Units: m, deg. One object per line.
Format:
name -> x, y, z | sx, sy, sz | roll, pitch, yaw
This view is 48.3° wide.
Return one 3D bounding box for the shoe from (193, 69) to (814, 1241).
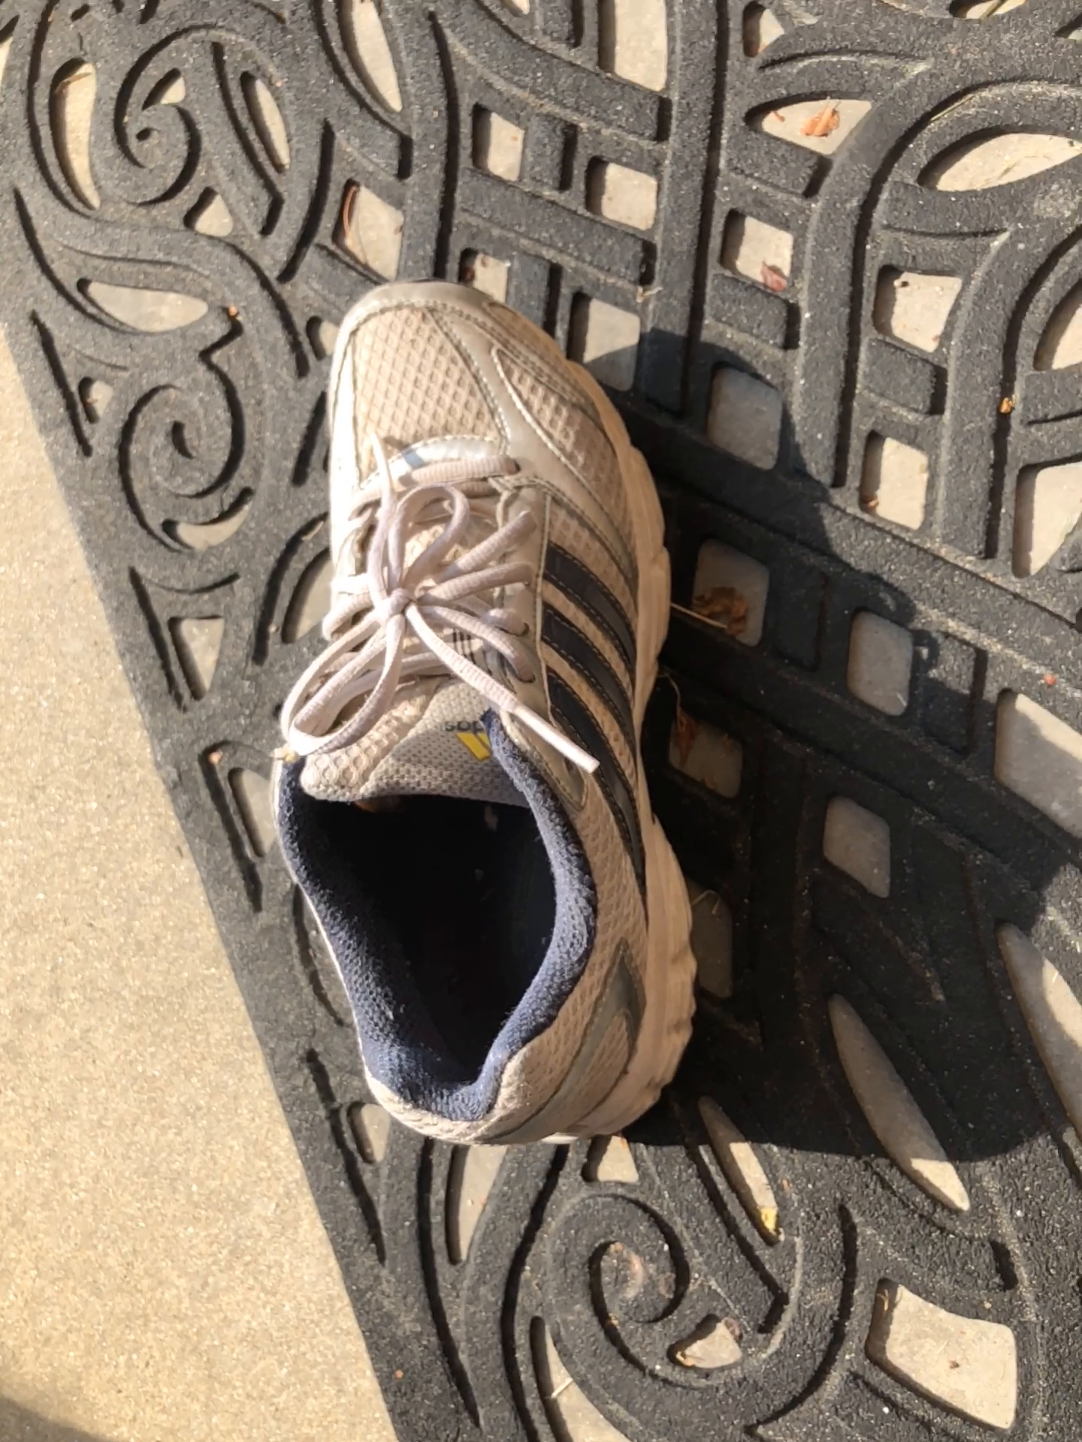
shoe -> -0.005, -0.009, 0.339 | 0.100, 0.130, 0.260 | -11, 80, 21
